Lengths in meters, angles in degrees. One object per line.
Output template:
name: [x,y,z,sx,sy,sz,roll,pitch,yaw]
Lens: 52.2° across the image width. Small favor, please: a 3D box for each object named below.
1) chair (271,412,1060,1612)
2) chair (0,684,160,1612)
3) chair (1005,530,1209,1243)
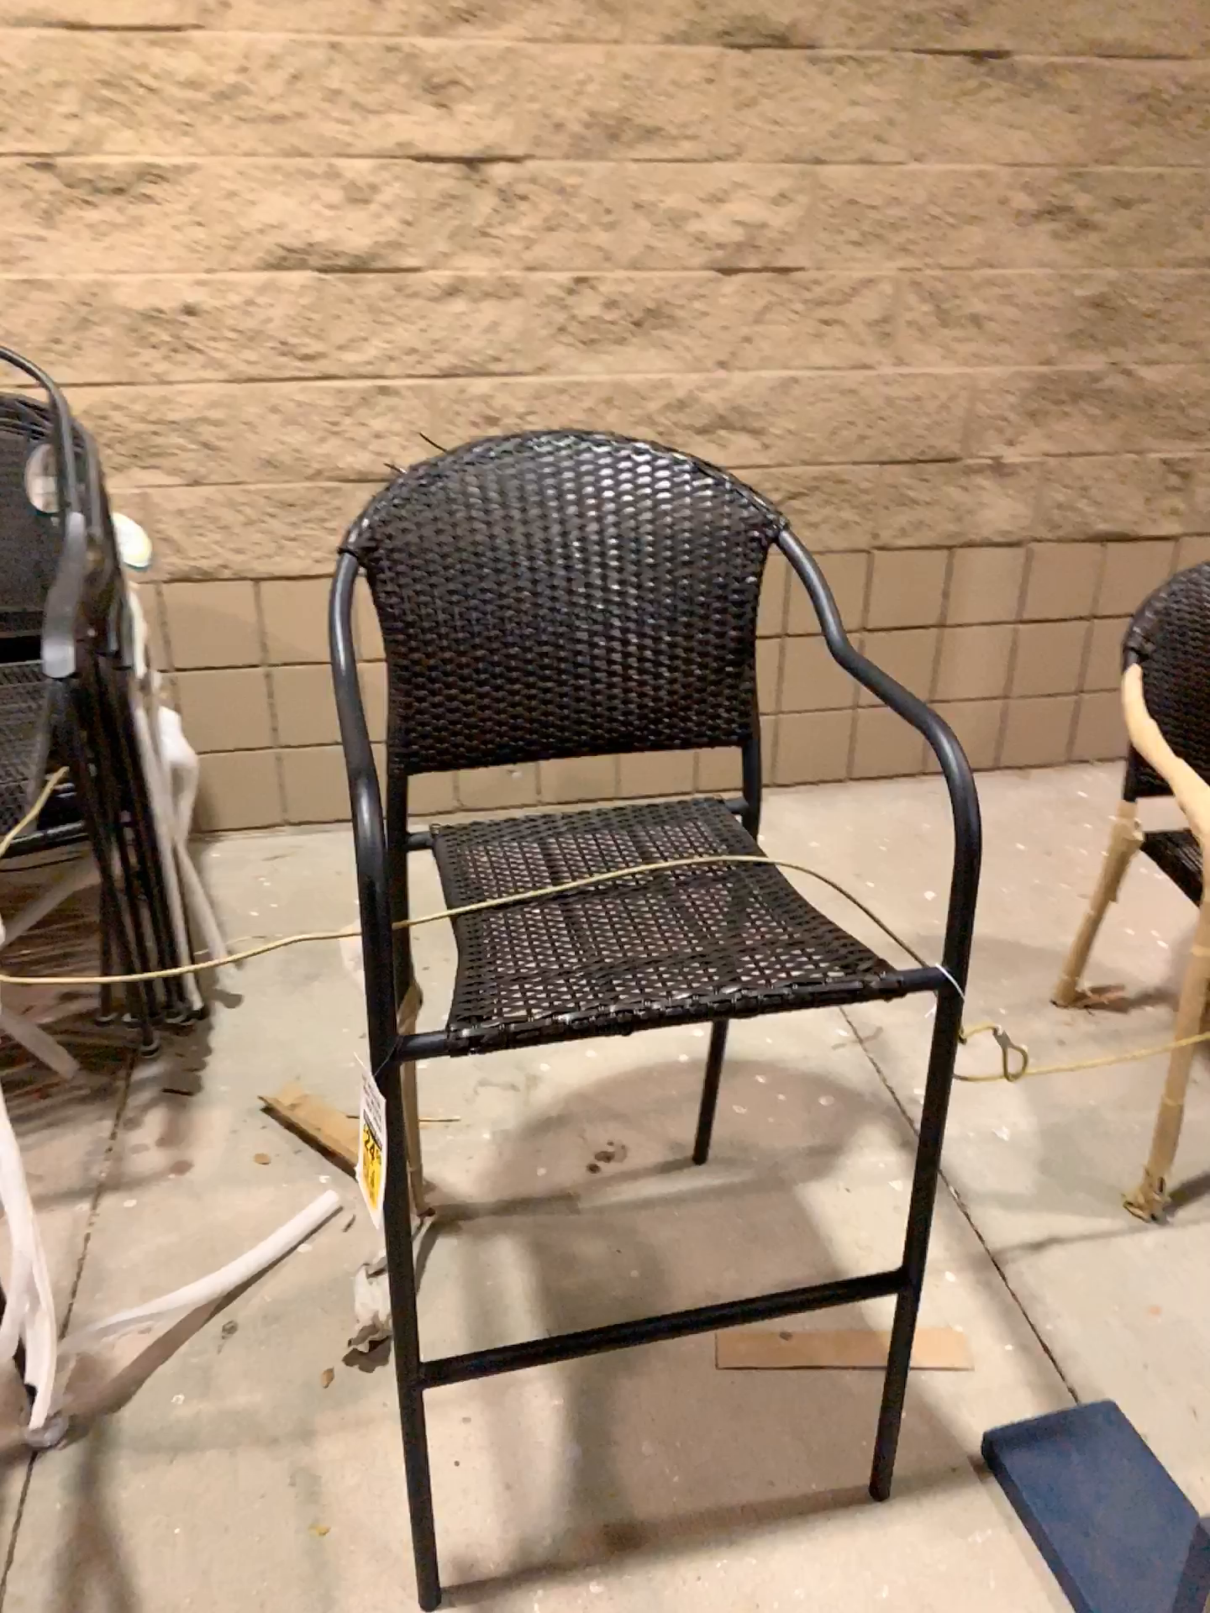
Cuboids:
chair: [-0.015,0.199,1.346,0.557,1.101,0.610,-6,27,-12]
chair: [-0.746,0.424,1.030,0.577,0.833,0.610,-7,27,-15]
chair: [1.017,0.088,1.815,0.567,0.833,0.630,1,26,1]
